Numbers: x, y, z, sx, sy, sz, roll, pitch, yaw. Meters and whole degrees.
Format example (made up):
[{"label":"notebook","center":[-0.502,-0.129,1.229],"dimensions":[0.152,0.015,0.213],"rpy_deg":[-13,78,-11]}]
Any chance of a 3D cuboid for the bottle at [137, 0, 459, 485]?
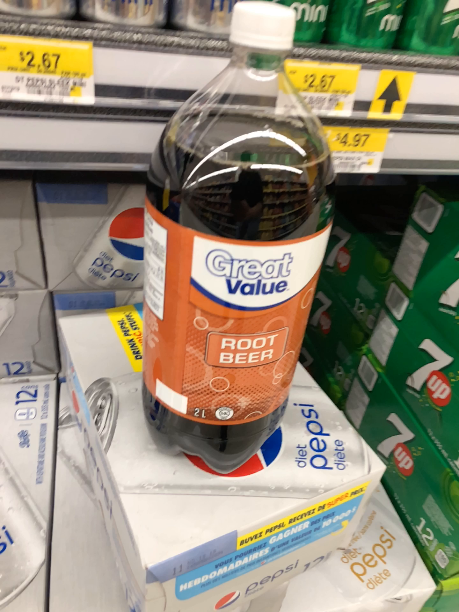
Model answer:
[{"label":"bottle","center":[0.008,-0.029,0.308],"dimensions":[0.120,0.268,0.121],"rpy_deg":[5,36,-4]}]
